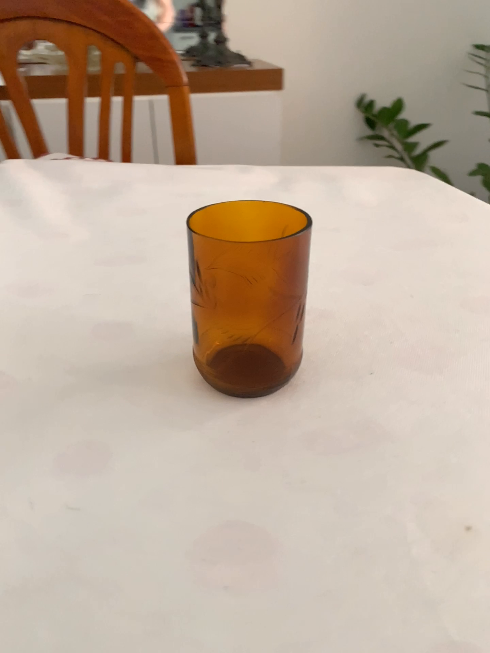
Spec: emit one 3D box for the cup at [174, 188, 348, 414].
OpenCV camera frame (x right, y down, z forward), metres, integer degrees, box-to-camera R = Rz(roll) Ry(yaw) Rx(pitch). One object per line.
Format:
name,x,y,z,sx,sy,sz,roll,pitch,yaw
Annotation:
cup,0.003,-0.016,0.264,0.070,0.089,0.070,0,31,0
